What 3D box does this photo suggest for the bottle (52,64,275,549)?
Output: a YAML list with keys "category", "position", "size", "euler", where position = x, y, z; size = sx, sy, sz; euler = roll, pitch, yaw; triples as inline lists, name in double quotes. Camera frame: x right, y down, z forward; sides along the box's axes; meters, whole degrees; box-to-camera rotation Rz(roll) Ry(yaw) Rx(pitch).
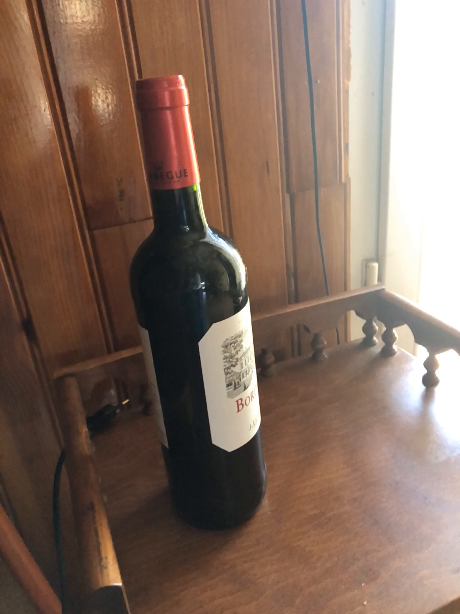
- category: "bottle"
  position: [-0.026, 0.011, 0.342]
  size: [0.080, 0.308, 0.081]
  euler: [-5, 24, 2]
